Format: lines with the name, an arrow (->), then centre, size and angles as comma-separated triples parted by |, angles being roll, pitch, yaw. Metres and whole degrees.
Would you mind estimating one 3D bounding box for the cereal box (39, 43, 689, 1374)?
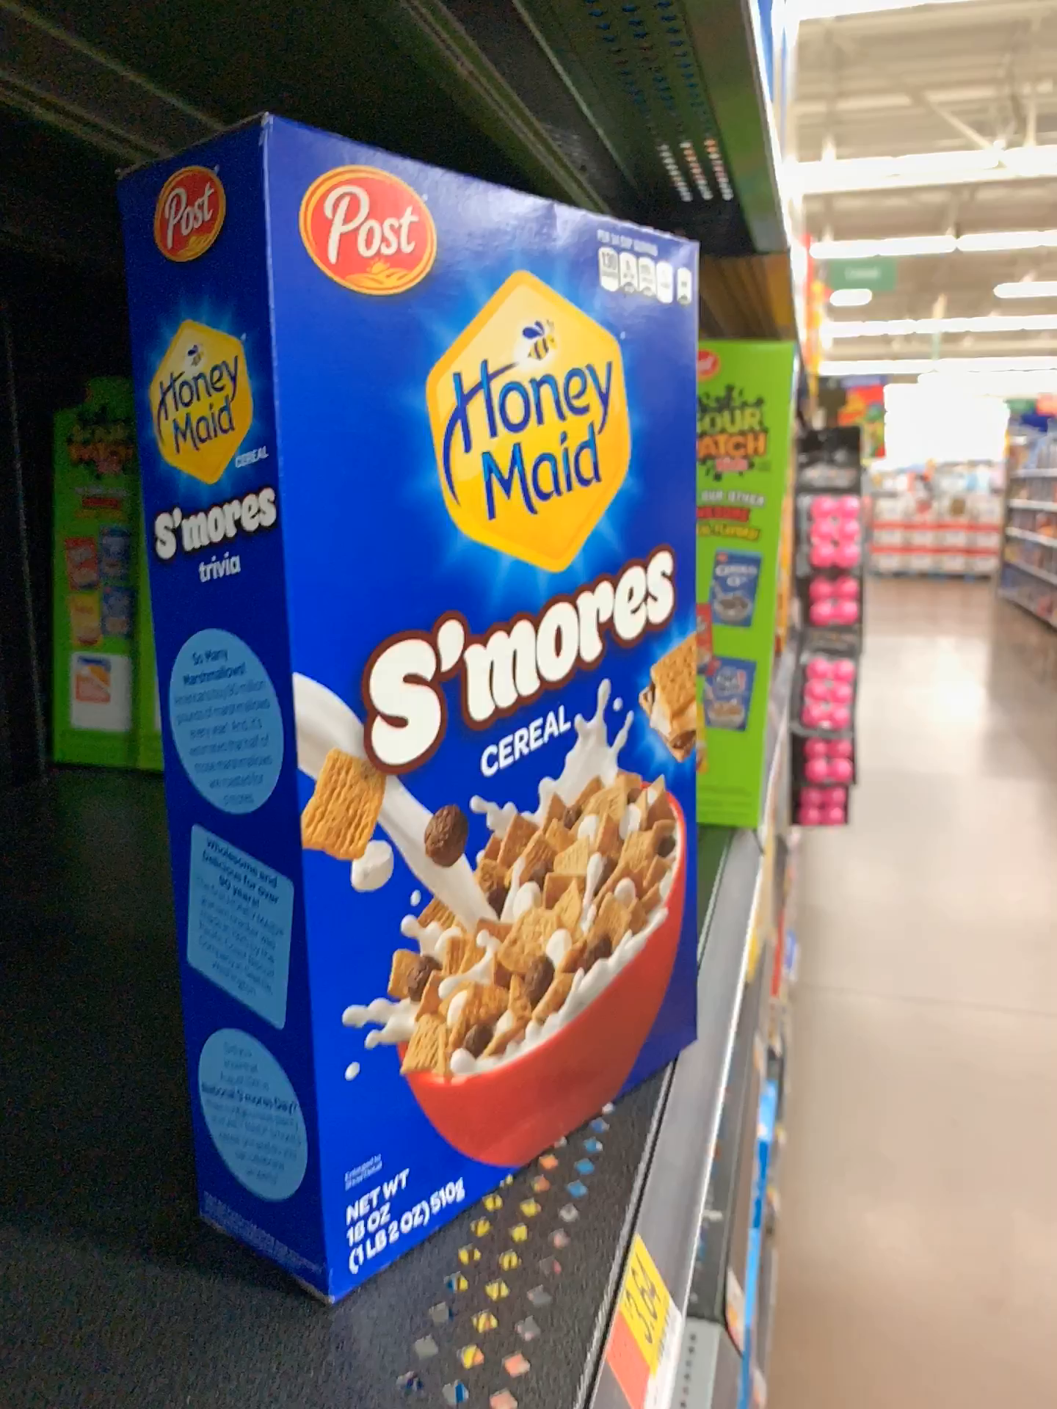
cereal box -> -0.030, -0.002, 0.357 | 0.070, 0.319, 0.200 | 6, 12, 39
